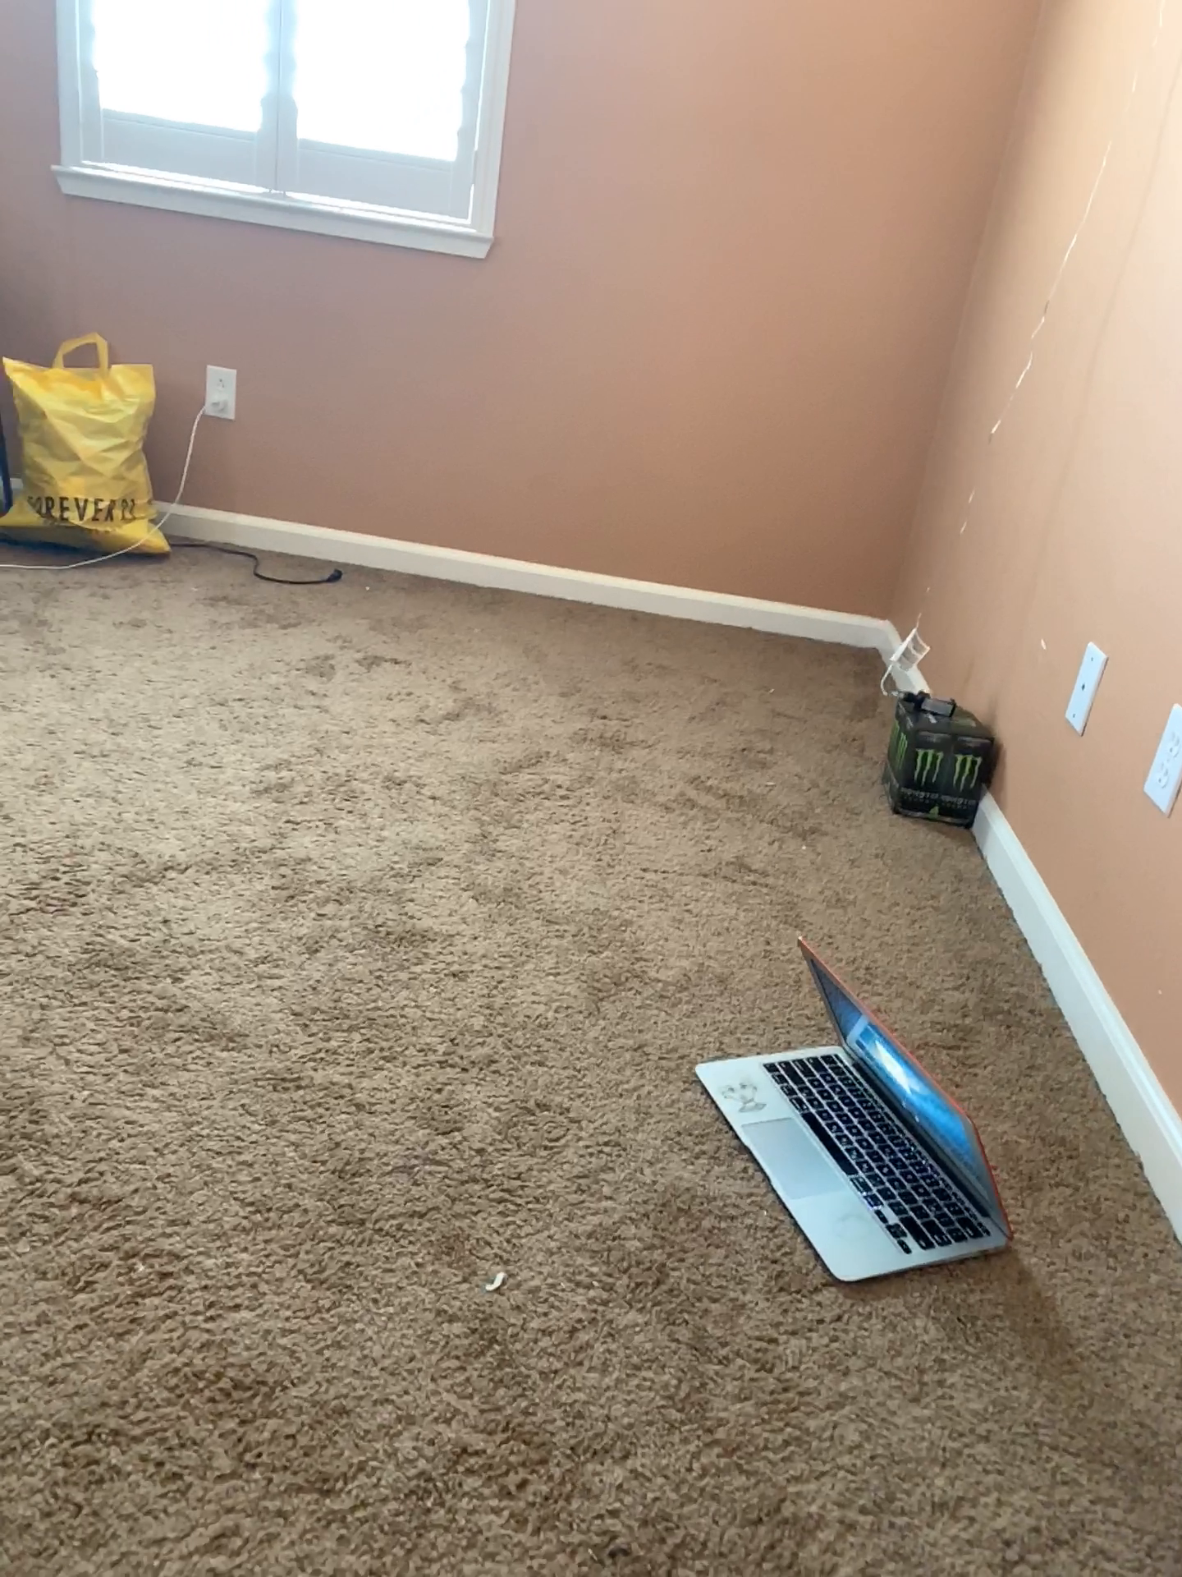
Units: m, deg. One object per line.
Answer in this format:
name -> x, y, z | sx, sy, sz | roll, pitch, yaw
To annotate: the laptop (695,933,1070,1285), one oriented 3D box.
laptop -> 0.264, 0.290, 1.160 | 0.193, 0.148, 0.300 | -2, 26, -23
